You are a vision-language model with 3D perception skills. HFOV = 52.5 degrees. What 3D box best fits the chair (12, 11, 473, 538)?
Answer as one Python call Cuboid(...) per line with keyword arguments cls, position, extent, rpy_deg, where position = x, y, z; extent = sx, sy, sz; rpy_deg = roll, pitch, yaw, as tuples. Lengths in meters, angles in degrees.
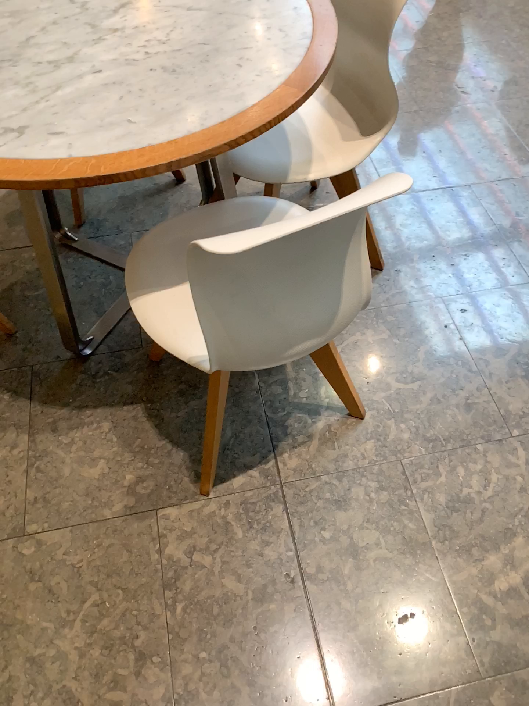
Cuboid(cls="chair", position=(-0.064, -0.086, 1.173), extent=(0.501, 0.913, 0.543), rpy_deg=(-23, 59, -15))
